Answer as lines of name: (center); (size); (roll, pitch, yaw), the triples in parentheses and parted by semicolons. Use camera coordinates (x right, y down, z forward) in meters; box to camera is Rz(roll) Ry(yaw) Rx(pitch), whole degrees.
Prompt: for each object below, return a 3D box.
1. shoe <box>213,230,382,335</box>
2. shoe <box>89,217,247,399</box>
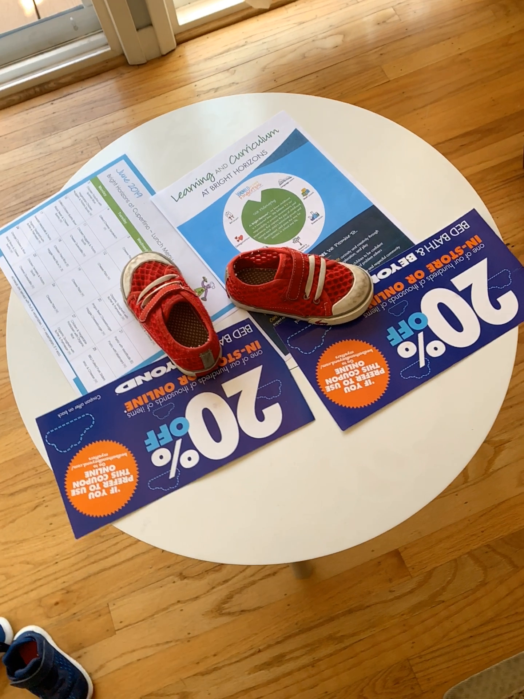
shoe: (0.043, -0.078, 0.635); (0.180, 0.070, 0.080); (8, 71, 7)
shoe: (-0.100, -0.045, 0.581); (0.080, 0.070, 0.170); (-34, 71, -8)
